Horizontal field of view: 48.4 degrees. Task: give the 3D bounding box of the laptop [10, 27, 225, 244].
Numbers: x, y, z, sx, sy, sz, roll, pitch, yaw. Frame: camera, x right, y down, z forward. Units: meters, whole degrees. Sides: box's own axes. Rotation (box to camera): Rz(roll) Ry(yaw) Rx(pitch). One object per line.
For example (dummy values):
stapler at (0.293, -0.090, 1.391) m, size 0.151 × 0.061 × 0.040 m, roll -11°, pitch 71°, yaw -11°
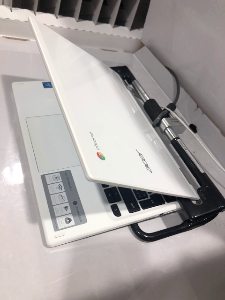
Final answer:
laptop at (-0.015, -0.052, 0.348) m, size 0.201 × 0.091 × 0.285 m, roll -7°, pitch 51°, yaw -26°
